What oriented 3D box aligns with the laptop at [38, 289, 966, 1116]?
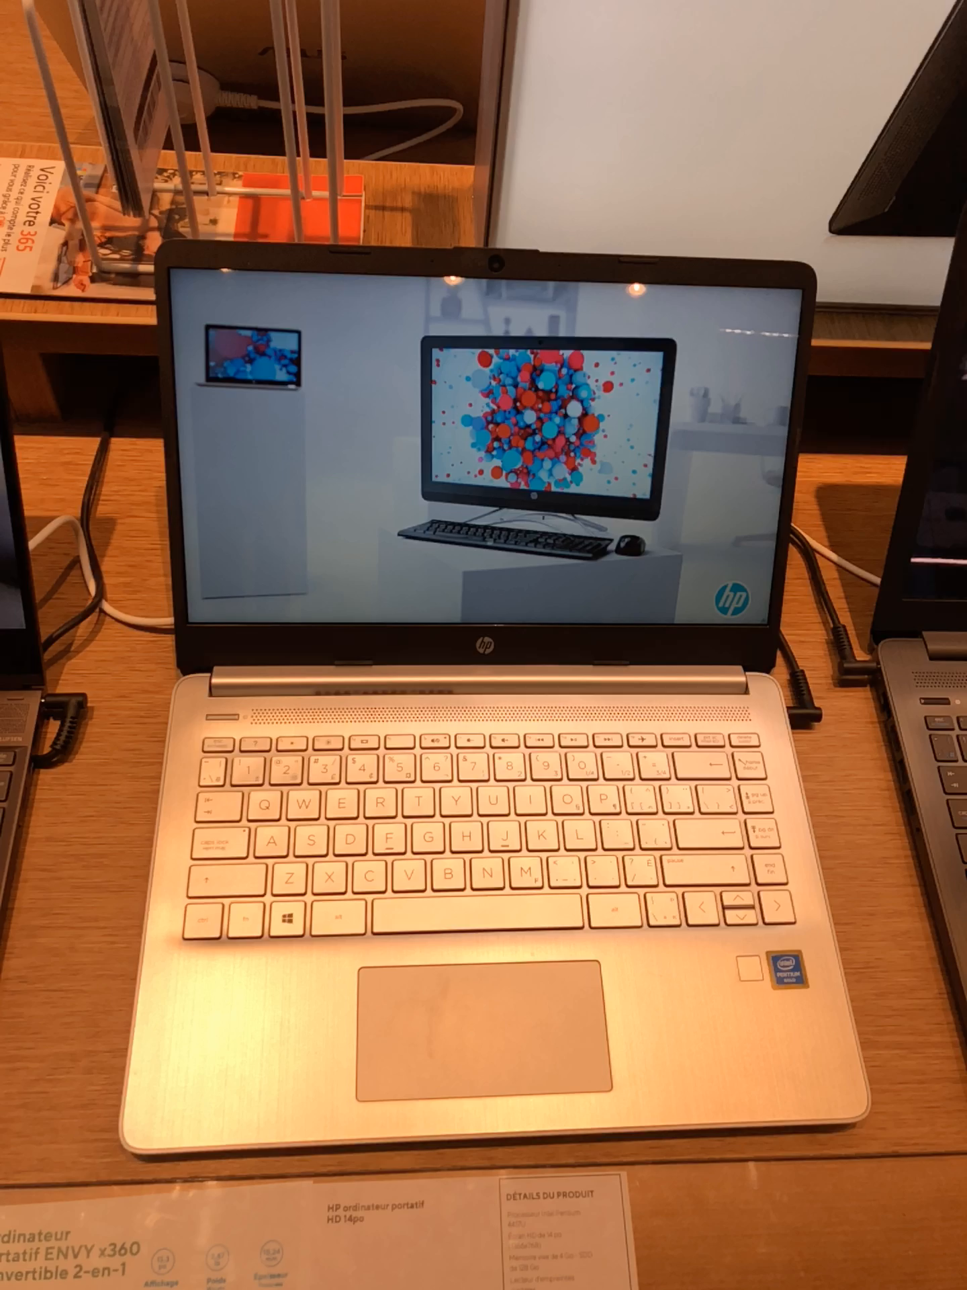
[{"bbox_3d":[0.007,0.016,0.492,0.307,0.167,0.347,0,57,-2],"label":"laptop"}]
